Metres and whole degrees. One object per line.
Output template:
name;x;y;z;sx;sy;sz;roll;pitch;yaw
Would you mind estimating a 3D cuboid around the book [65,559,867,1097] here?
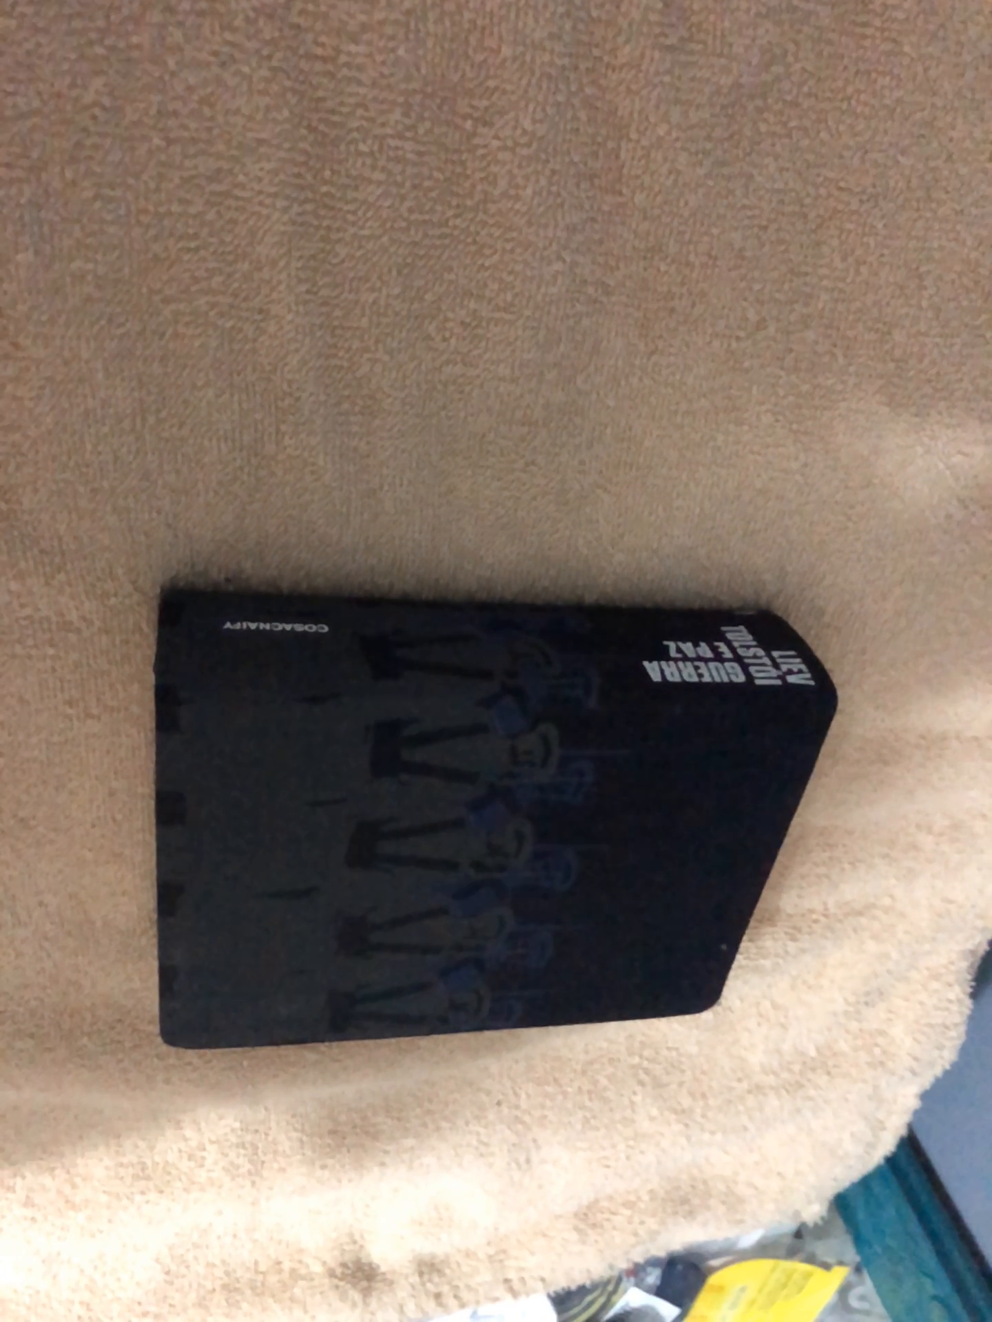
book;-0.014;0.049;0.311;0.190;0.050;0.141;1;124;-16
